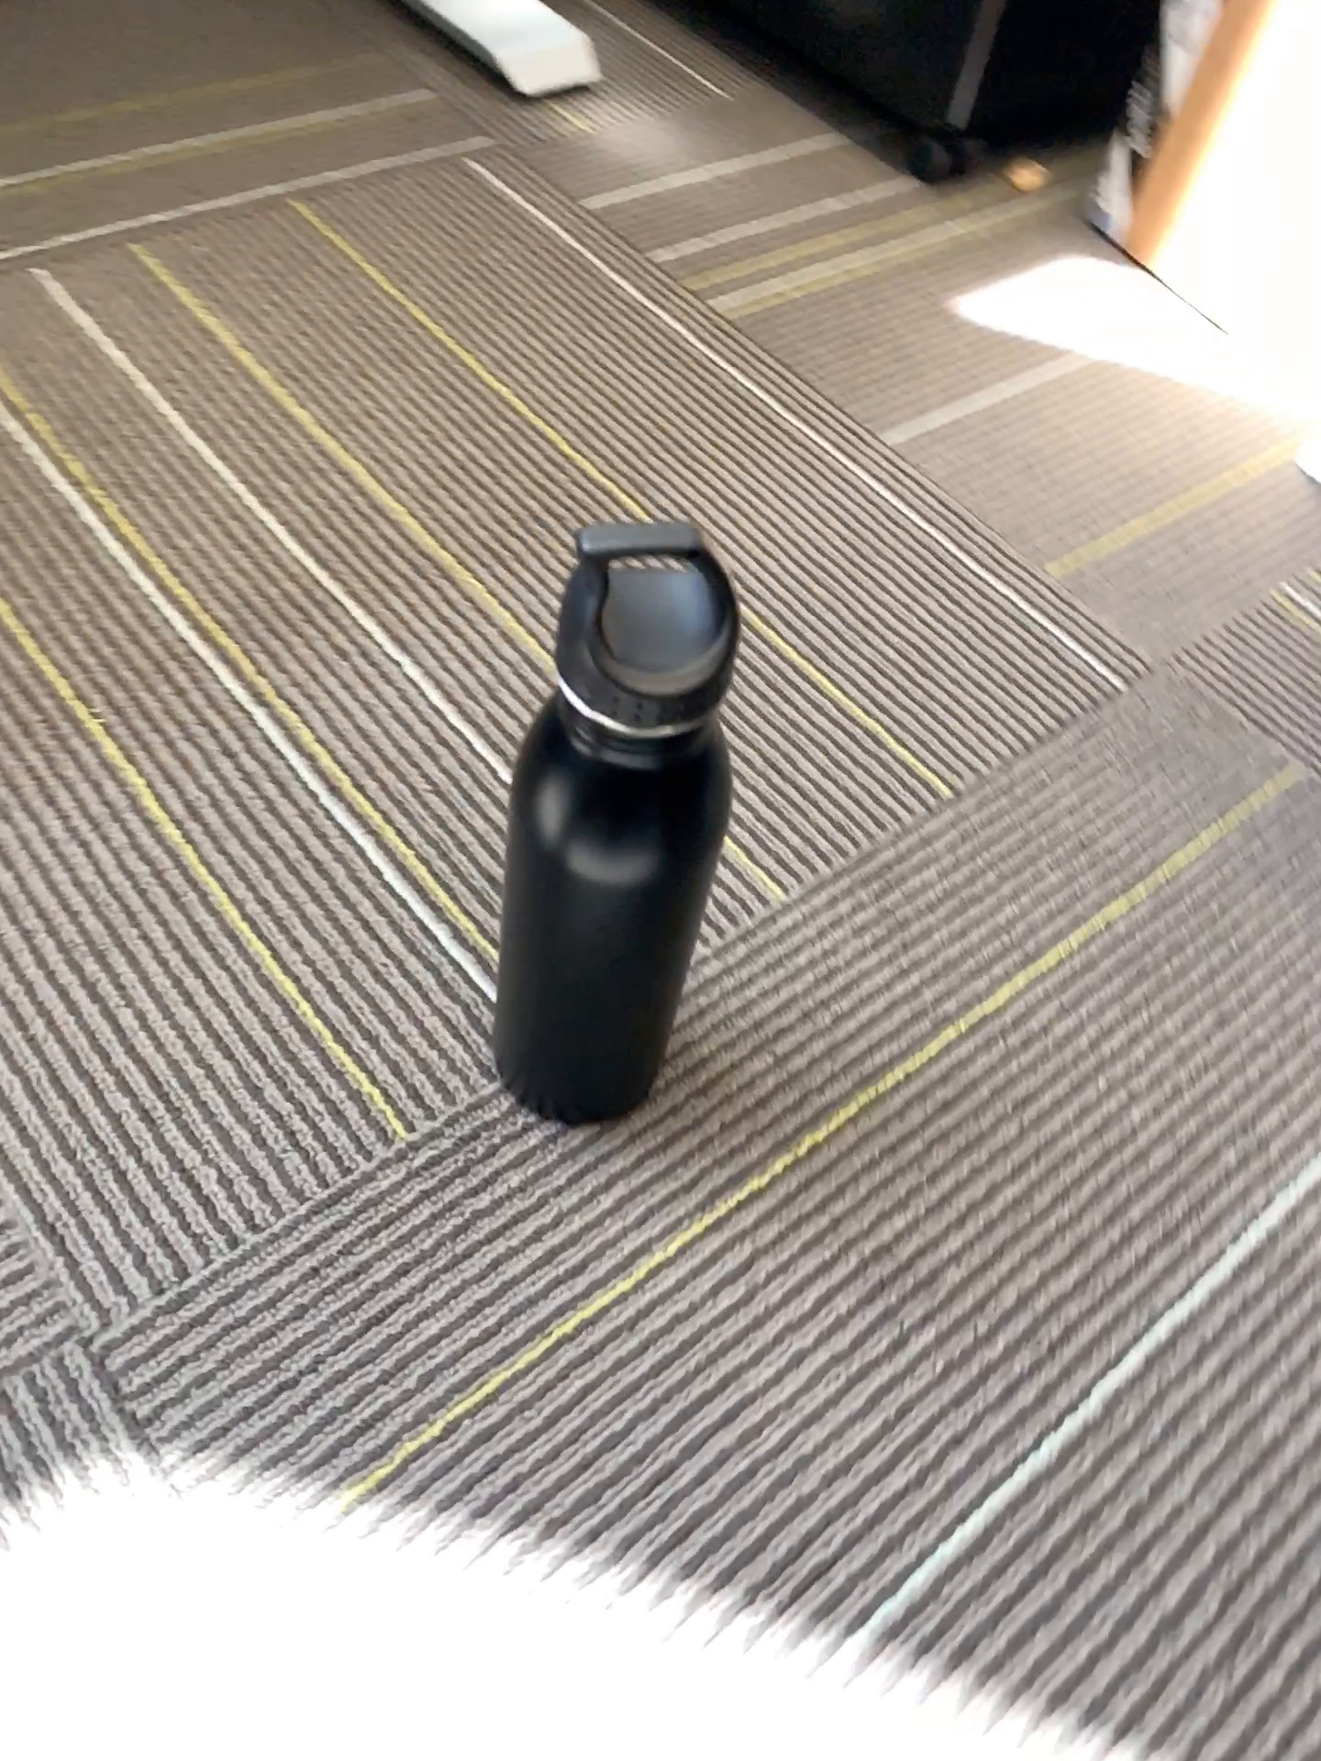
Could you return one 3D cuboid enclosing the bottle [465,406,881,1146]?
[{"bbox_3d":[-0.007,-0.013,0.433,0.090,0.249,0.080,10,53,-2],"label":"bottle"}]
